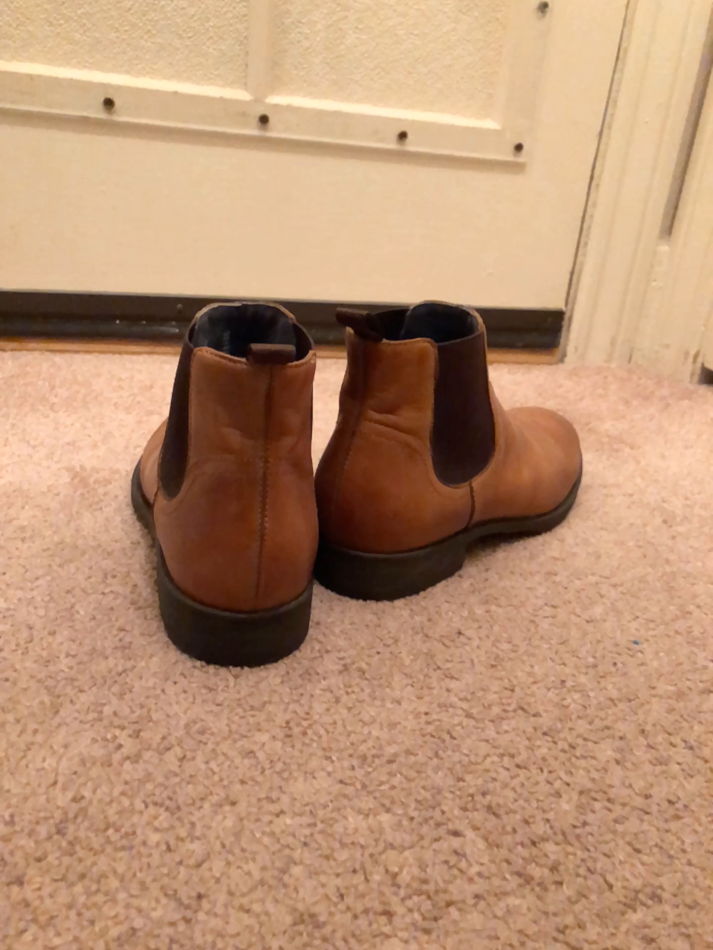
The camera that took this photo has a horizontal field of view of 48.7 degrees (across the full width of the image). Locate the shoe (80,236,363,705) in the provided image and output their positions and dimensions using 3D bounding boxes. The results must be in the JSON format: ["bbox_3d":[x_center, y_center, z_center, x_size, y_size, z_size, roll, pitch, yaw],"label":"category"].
[{"bbox_3d":[-0.091,-0.034,0.479,0.109,0.165,0.313,1,24,-13],"label":"shoe"}]

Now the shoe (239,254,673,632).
[{"bbox_3d":[0.080,-0.048,0.528,0.109,0.165,0.313,23,29,35],"label":"shoe"}]
